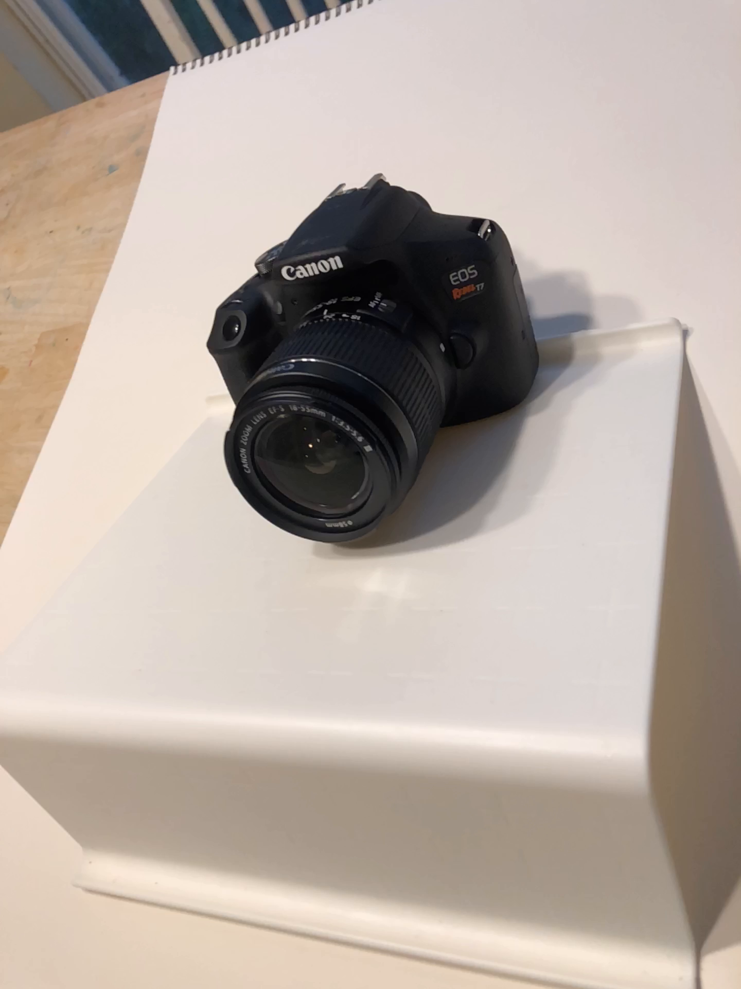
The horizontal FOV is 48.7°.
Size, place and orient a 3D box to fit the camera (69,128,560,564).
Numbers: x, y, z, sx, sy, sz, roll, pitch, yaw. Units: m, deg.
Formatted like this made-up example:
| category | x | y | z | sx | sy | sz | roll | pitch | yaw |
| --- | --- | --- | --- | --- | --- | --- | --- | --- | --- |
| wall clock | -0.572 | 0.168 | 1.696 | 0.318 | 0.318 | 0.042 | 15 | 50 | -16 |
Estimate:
| category | x | y | z | sx | sy | sz | roll | pitch | yaw |
| --- | --- | --- | --- | --- | --- | --- | --- | --- | --- |
| camera | -0.008 | -0.059 | 0.328 | 0.126 | 0.104 | 0.140 | -4 | 34 | 26 |
